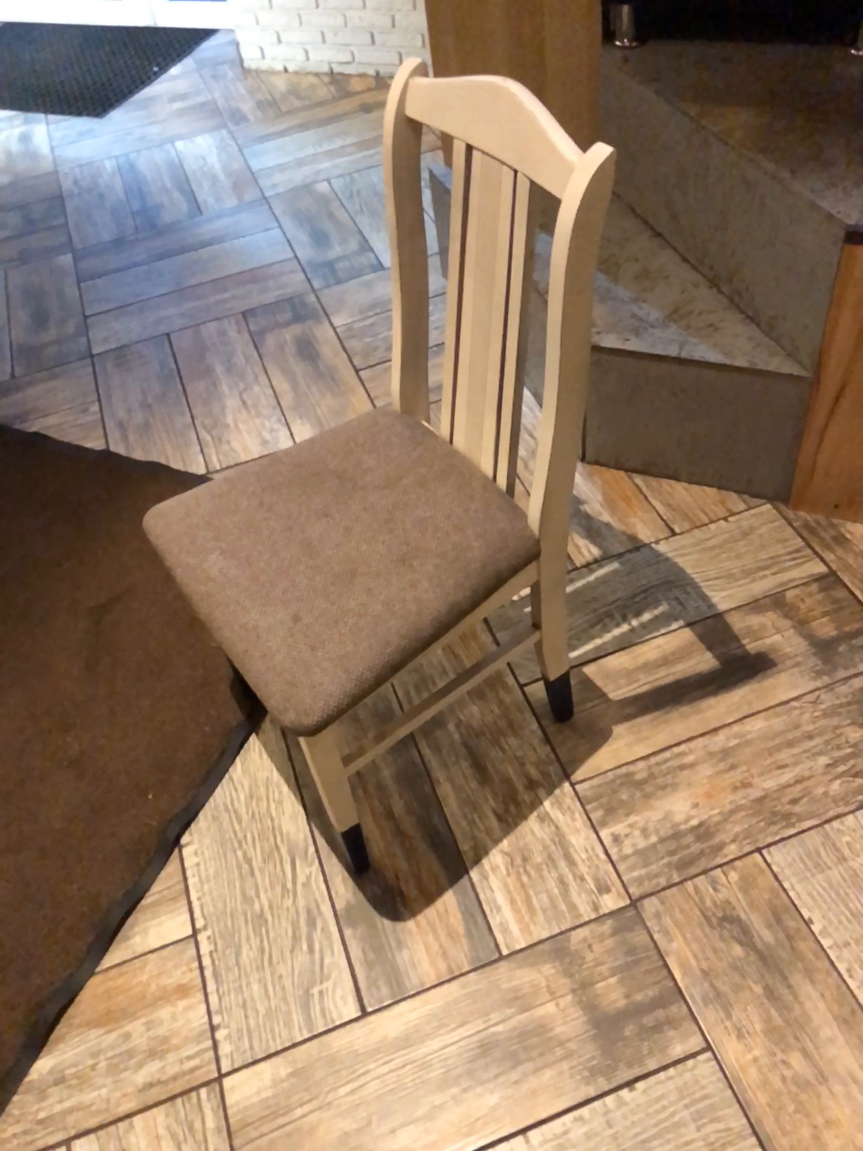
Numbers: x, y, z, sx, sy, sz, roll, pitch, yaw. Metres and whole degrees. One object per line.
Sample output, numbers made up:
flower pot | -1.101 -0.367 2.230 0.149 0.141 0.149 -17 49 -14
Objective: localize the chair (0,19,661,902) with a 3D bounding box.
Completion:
chair | -0.097 -0.102 1.235 0.520 0.916 0.480 -29 50 -18
